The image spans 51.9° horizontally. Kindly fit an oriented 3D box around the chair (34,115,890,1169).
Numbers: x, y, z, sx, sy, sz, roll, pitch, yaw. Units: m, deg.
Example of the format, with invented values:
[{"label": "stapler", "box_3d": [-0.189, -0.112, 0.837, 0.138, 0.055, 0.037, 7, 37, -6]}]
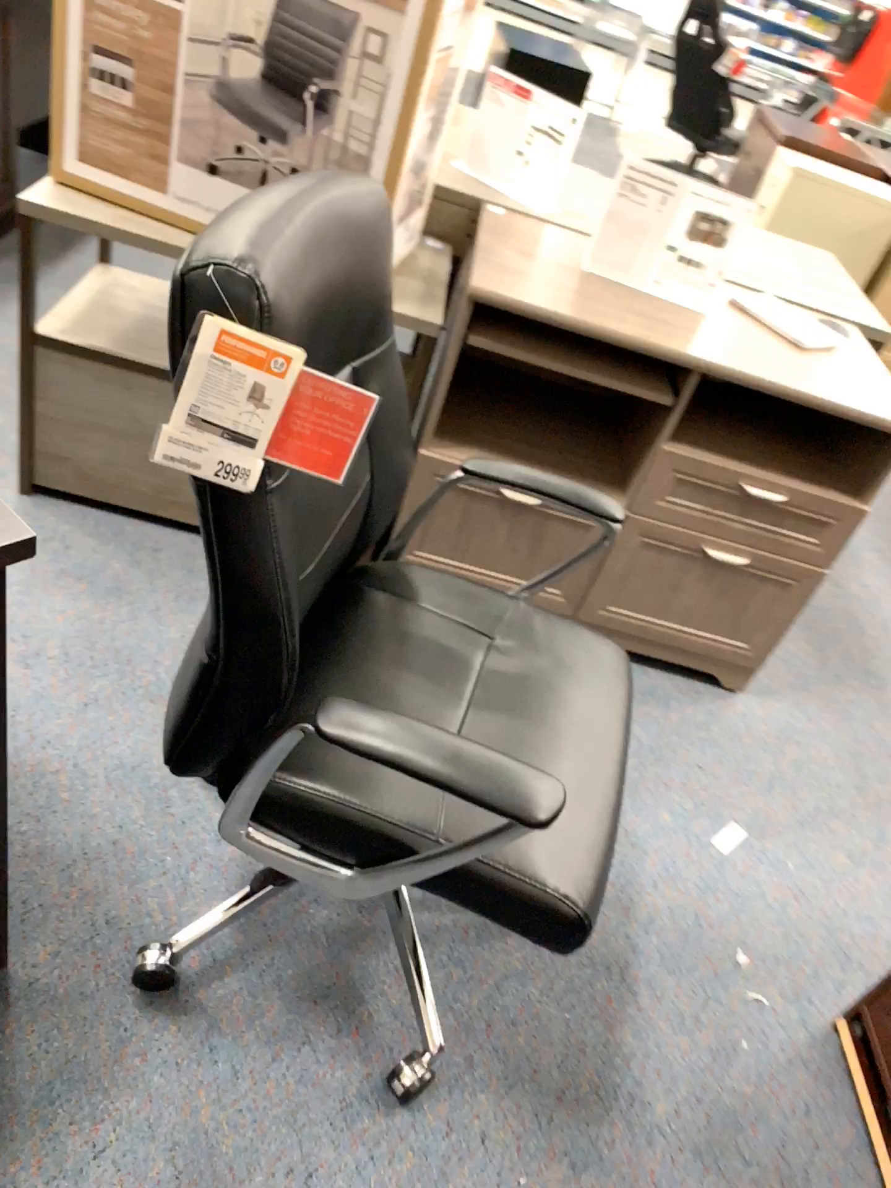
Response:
[{"label": "chair", "box_3d": [-0.002, 0.077, 1.197, 0.717, 0.996, 0.668, 22, 37, 2]}]
